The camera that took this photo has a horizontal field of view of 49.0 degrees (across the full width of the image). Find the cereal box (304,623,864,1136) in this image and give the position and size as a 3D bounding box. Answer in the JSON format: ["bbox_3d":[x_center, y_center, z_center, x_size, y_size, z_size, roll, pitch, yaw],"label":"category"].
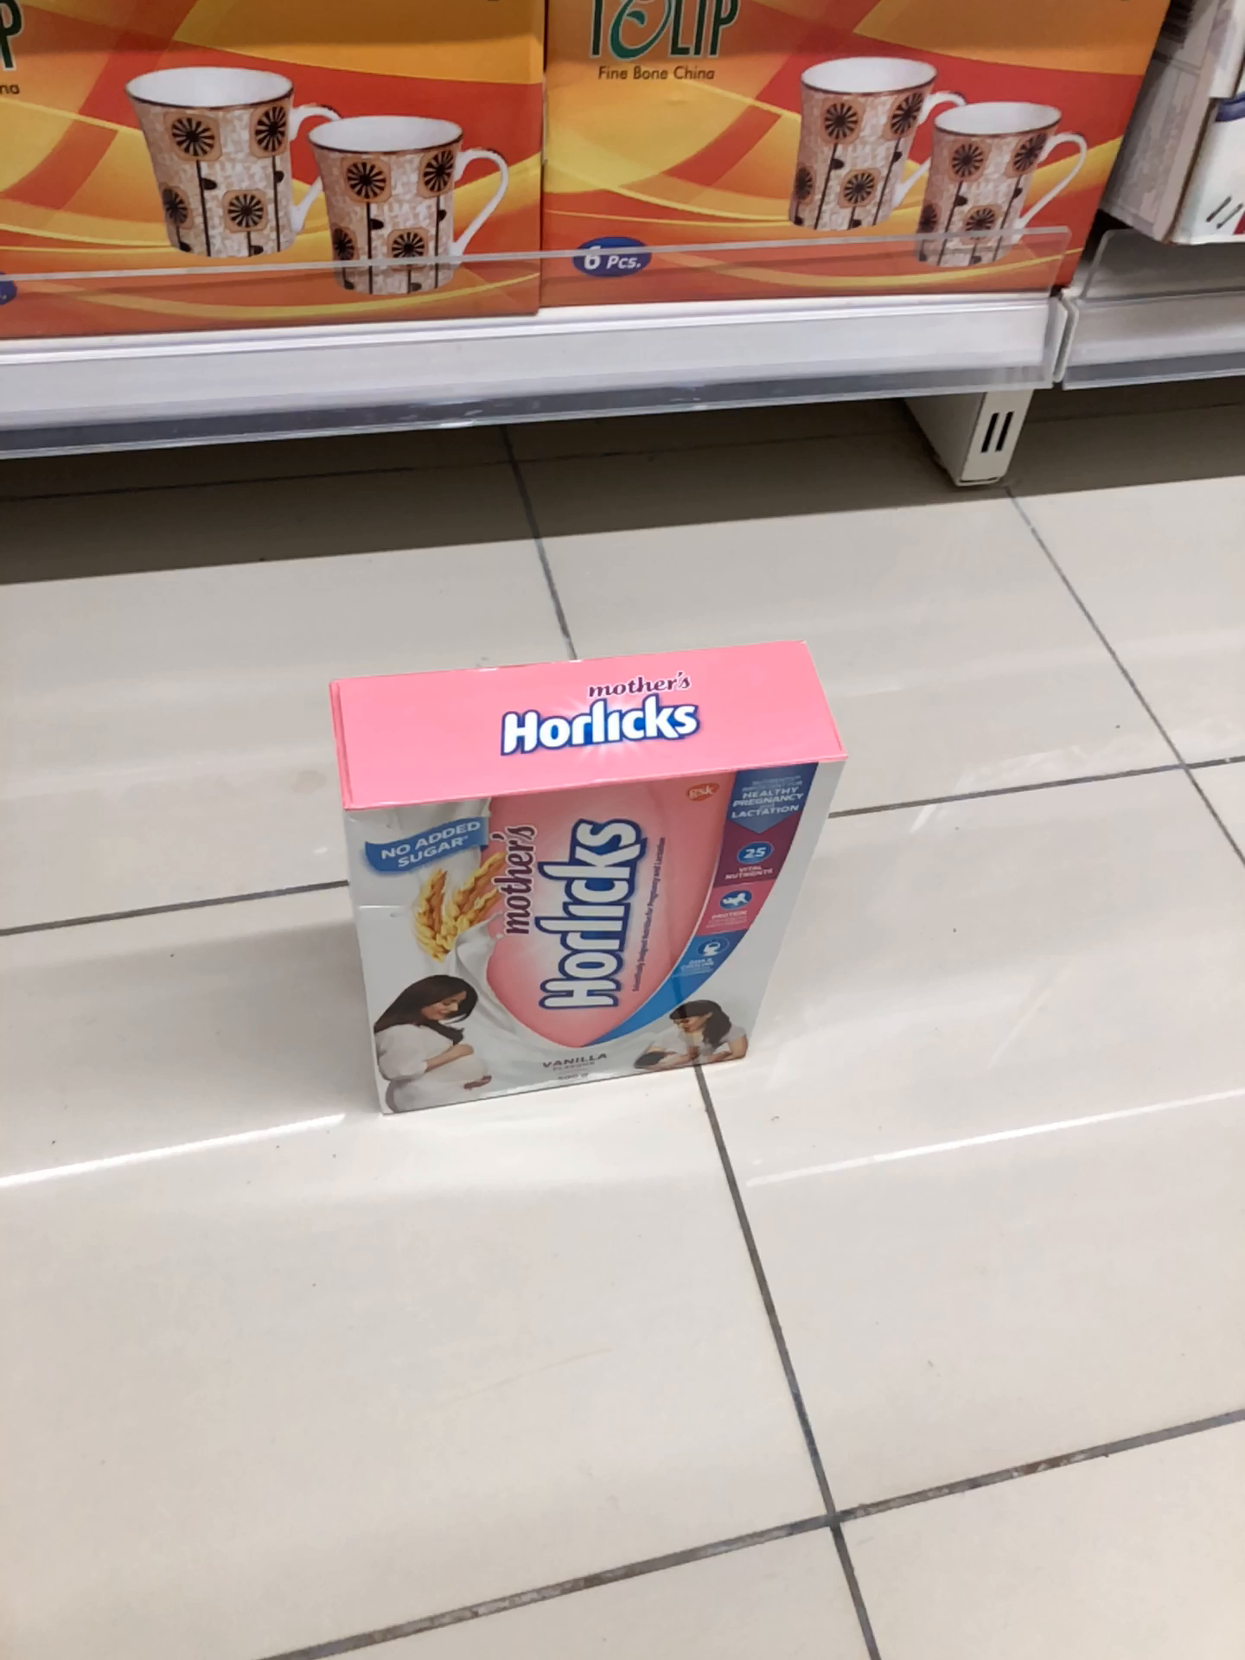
[{"bbox_3d":[-0.019,0.025,0.483,0.160,0.189,0.060,-7,51,-11],"label":"cereal box"}]
